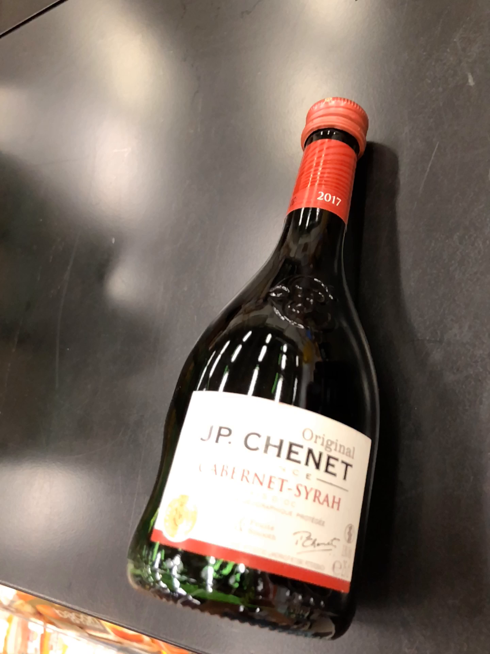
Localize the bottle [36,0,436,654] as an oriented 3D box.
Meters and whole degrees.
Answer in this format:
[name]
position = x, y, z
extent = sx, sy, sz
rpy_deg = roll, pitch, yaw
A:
[bottle]
position = 0.010, -0.013, 0.177
extent = 0.070, 0.060, 0.200
rpy_deg = -2, 66, 34
